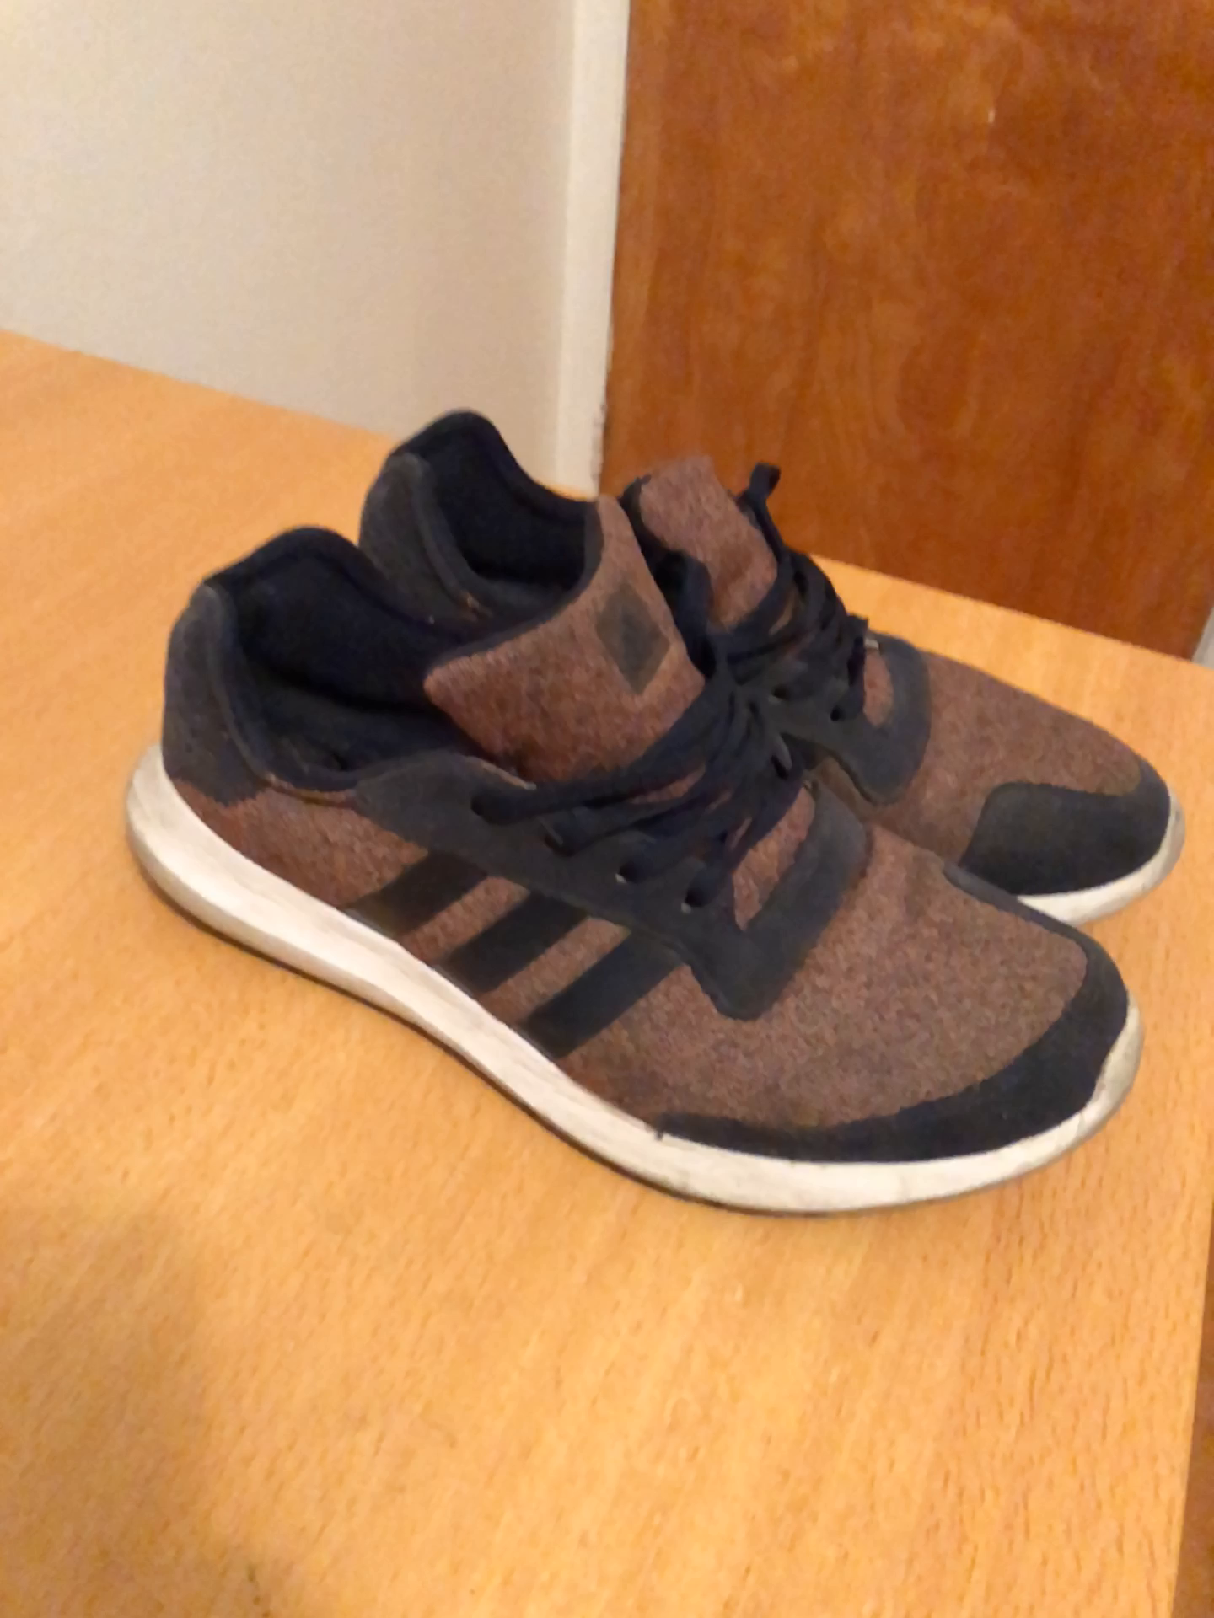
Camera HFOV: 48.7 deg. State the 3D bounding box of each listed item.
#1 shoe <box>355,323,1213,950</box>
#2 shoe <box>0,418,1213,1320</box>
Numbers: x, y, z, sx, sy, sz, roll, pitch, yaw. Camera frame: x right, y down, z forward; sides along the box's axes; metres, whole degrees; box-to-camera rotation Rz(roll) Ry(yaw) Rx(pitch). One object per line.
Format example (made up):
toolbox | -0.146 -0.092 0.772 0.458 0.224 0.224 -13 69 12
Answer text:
shoe | 0.065 -0.065 0.427 0.260 0.099 0.111 16 39 14
shoe | -0.003 -0.003 0.358 0.310 0.099 0.131 16 39 14
